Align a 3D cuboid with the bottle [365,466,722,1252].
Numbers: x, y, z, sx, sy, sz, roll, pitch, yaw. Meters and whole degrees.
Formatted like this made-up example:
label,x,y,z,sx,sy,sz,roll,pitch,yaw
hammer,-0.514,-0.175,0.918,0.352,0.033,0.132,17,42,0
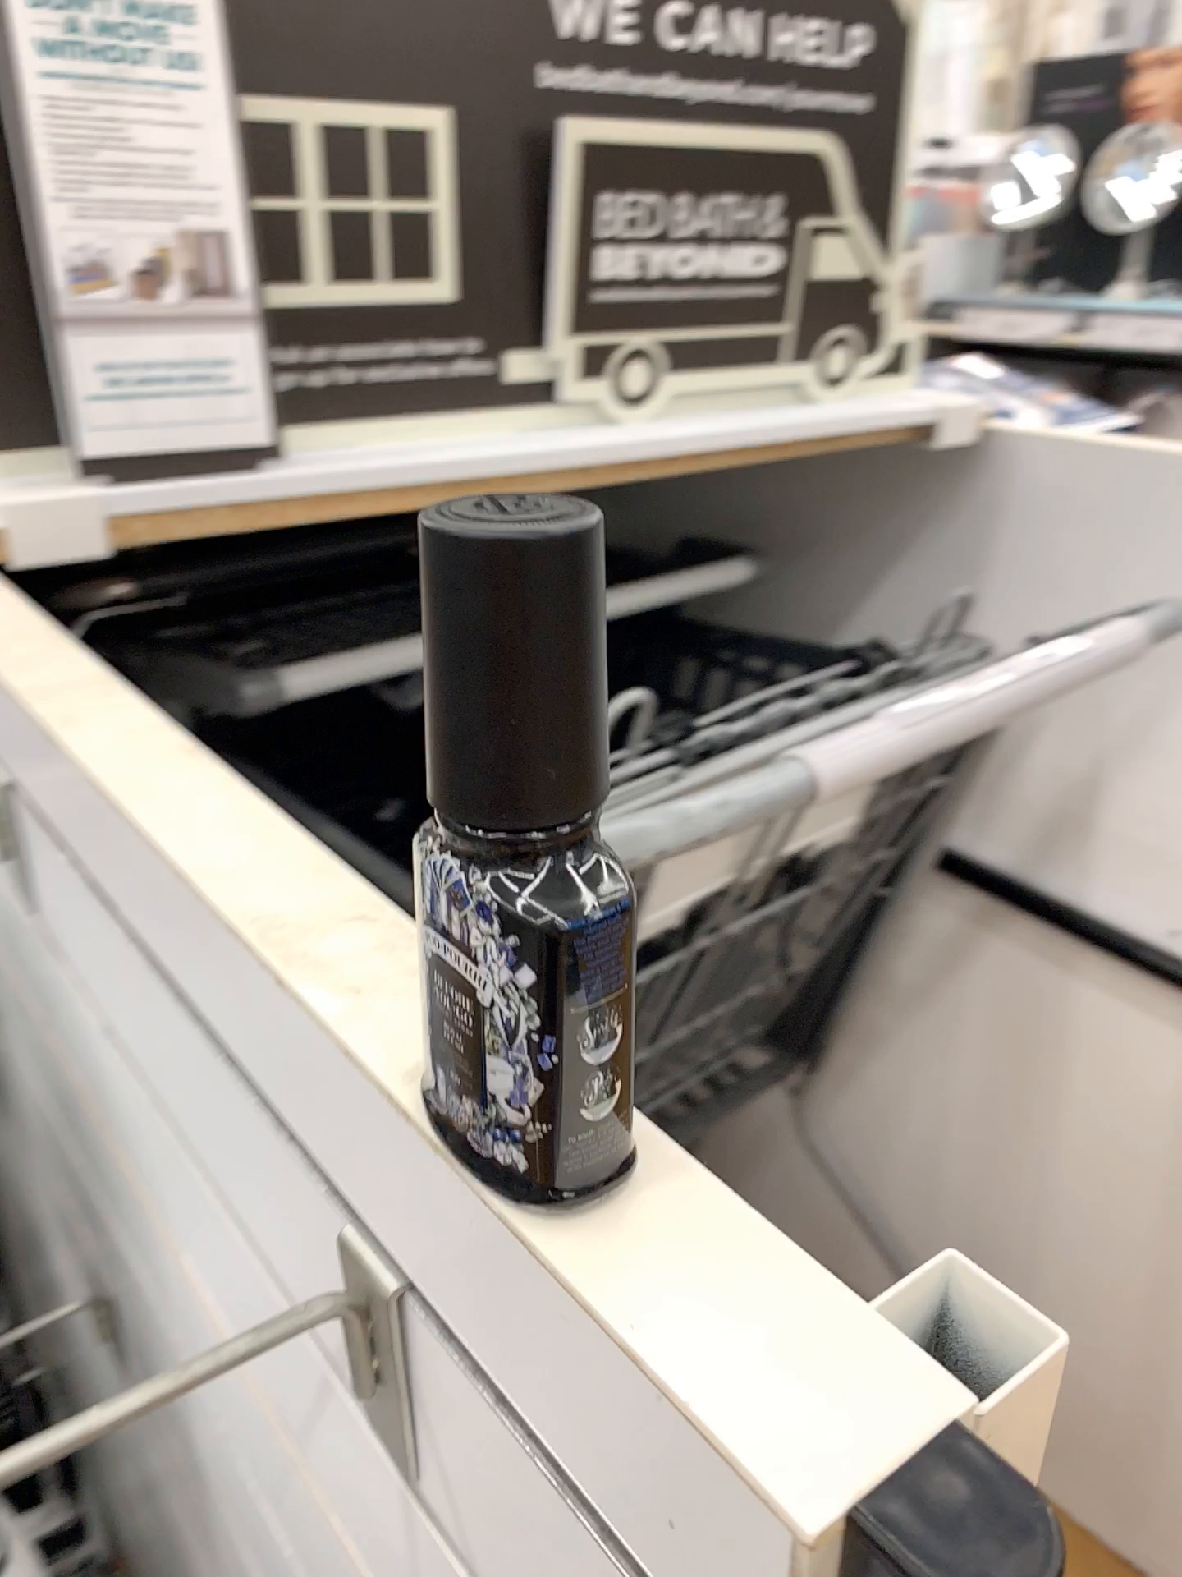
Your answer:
label,x,y,z,sx,sy,sz,roll,pitch,yaw
bottle,-0.009,0.012,0.216,0.032,0.123,0.050,-17,29,-33
